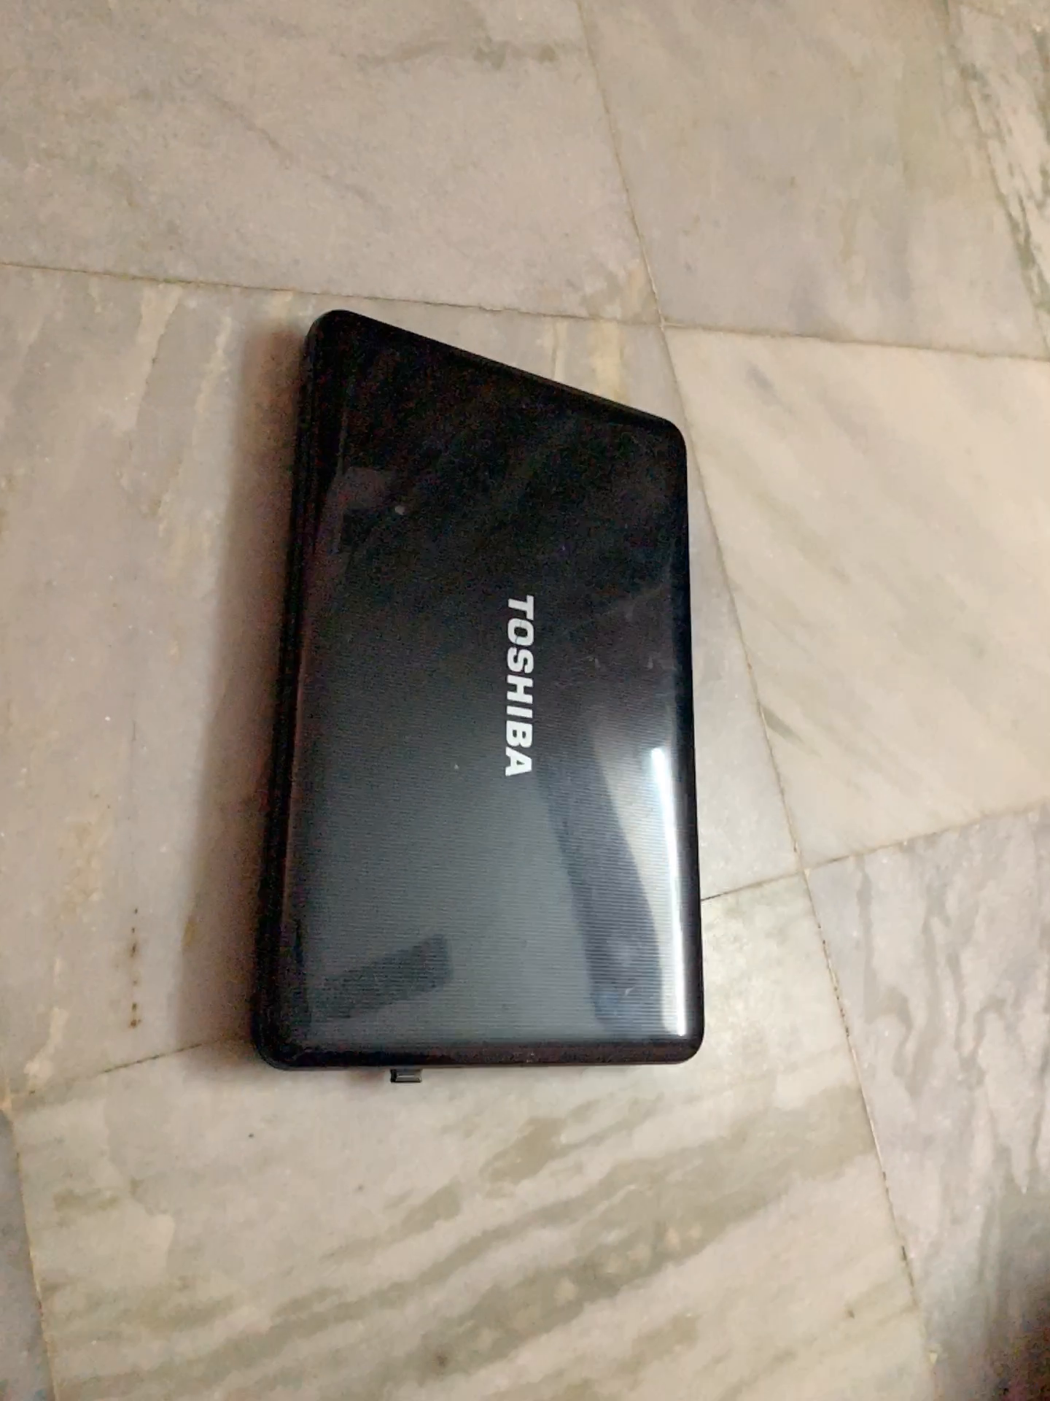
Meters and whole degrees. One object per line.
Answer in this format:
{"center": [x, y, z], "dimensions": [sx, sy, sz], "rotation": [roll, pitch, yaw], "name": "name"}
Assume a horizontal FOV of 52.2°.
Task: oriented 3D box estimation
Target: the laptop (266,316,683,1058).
{"center": [-0.010, -0.006, 0.552], "dimensions": [0.223, 0.003, 0.355], "rotation": [10, 73, -30], "name": "laptop"}
